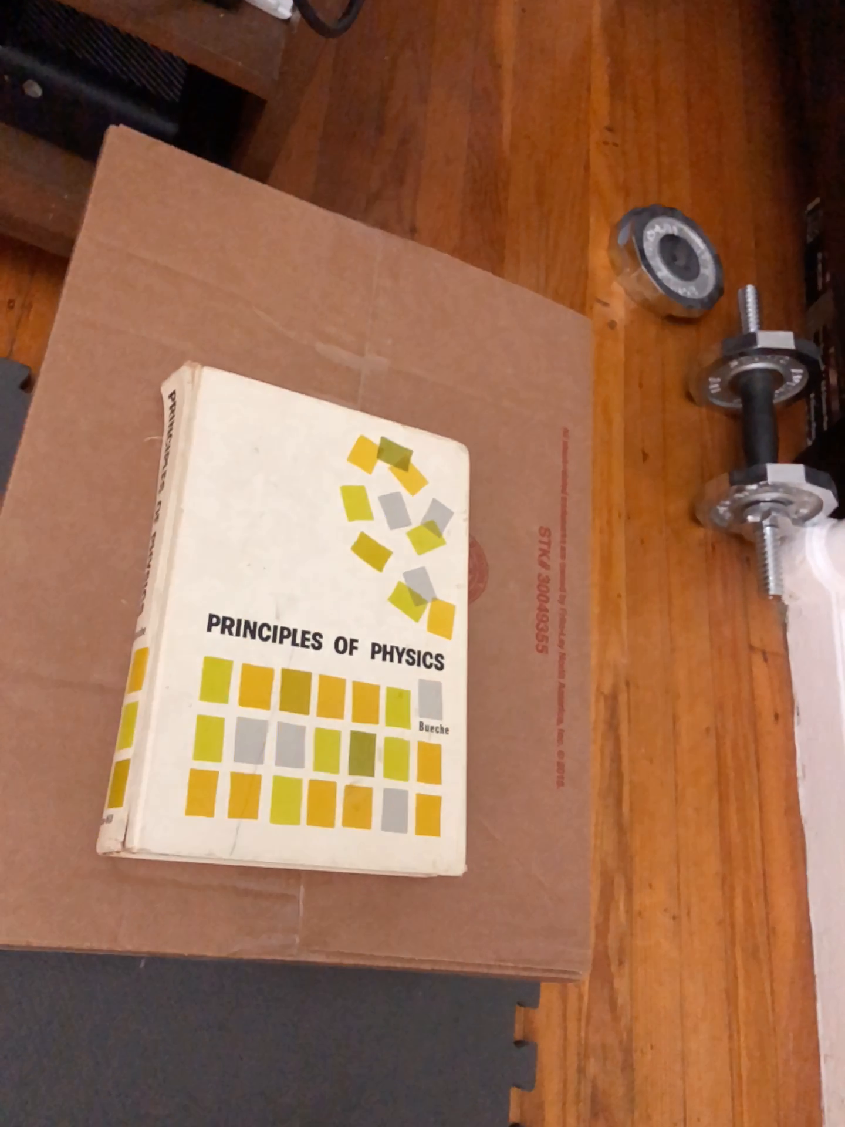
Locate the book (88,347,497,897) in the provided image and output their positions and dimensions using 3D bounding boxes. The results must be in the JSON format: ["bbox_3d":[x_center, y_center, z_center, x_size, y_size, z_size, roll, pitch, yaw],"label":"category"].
[{"bbox_3d":[-0.051,0.032,0.477,0.180,0.040,0.251,13,65,-24],"label":"book"}]
